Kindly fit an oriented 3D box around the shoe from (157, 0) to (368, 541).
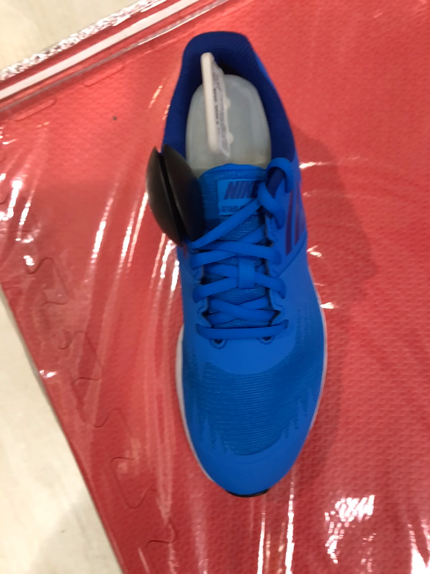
[{"bbox_3d":[0.022,-0.012,0.296,0.100,0.100,0.280,-1,83,2],"label":"shoe"}]
